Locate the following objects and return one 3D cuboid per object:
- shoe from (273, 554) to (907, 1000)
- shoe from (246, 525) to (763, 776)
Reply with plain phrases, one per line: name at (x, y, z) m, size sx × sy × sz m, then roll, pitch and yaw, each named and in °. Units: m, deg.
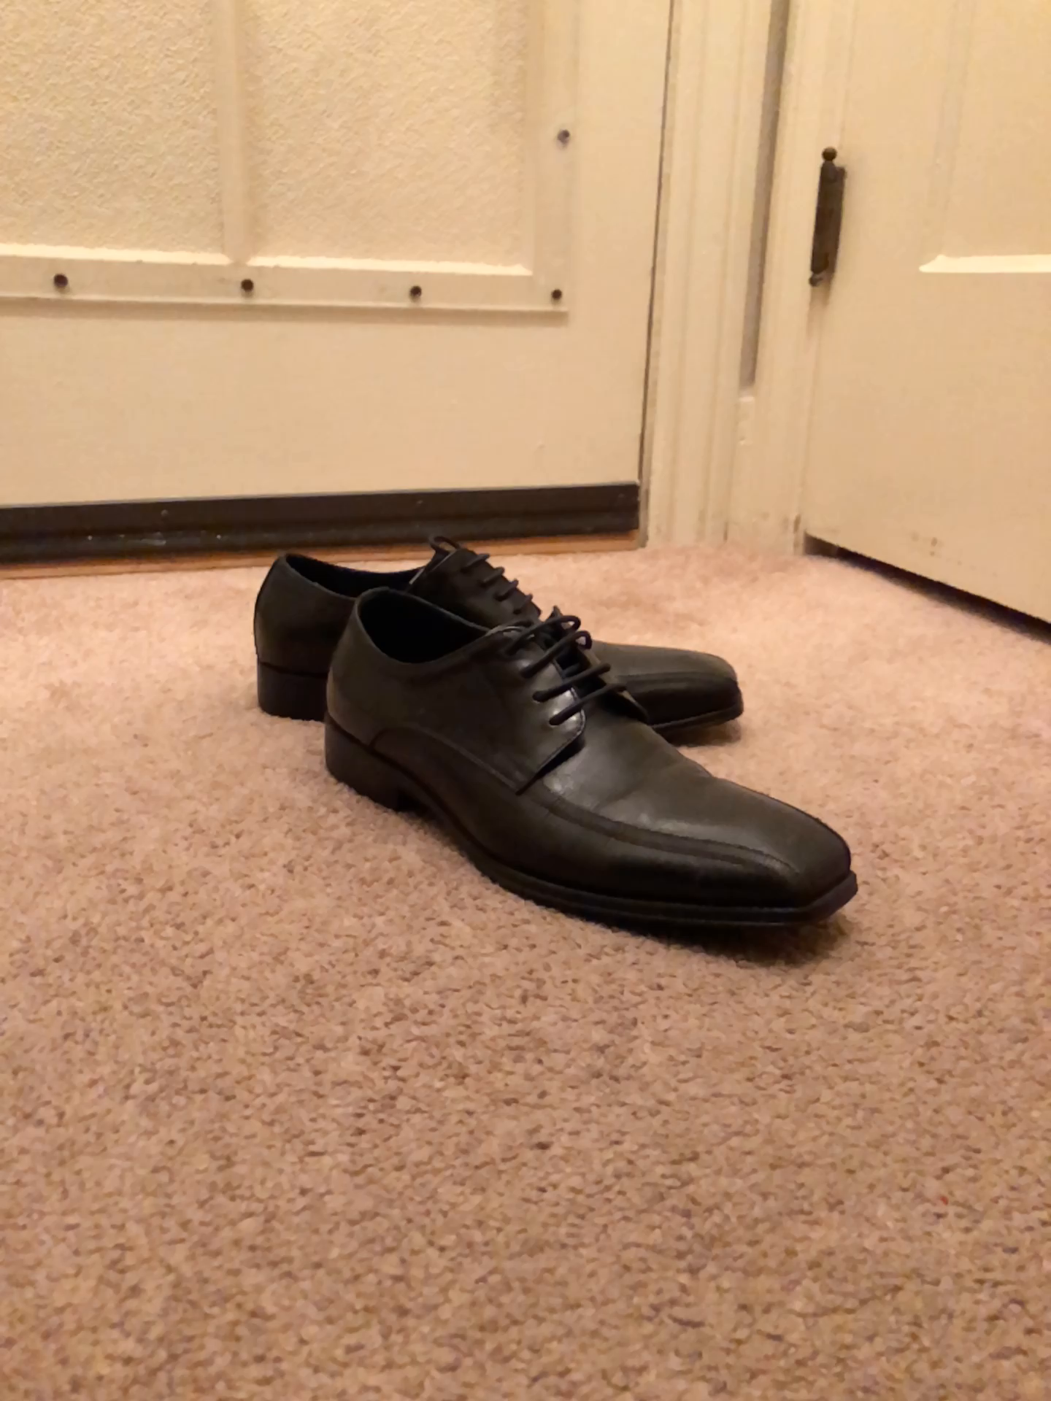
shoe at (0.015, 0.015, 0.548) m, size 0.283 × 0.107 × 0.110 m, roll 18°, pitch 25°, yaw 38°
shoe at (-0.010, -0.037, 0.730) m, size 0.297 × 0.110 × 0.116 m, roll 4°, pitch 19°, yaw 6°
